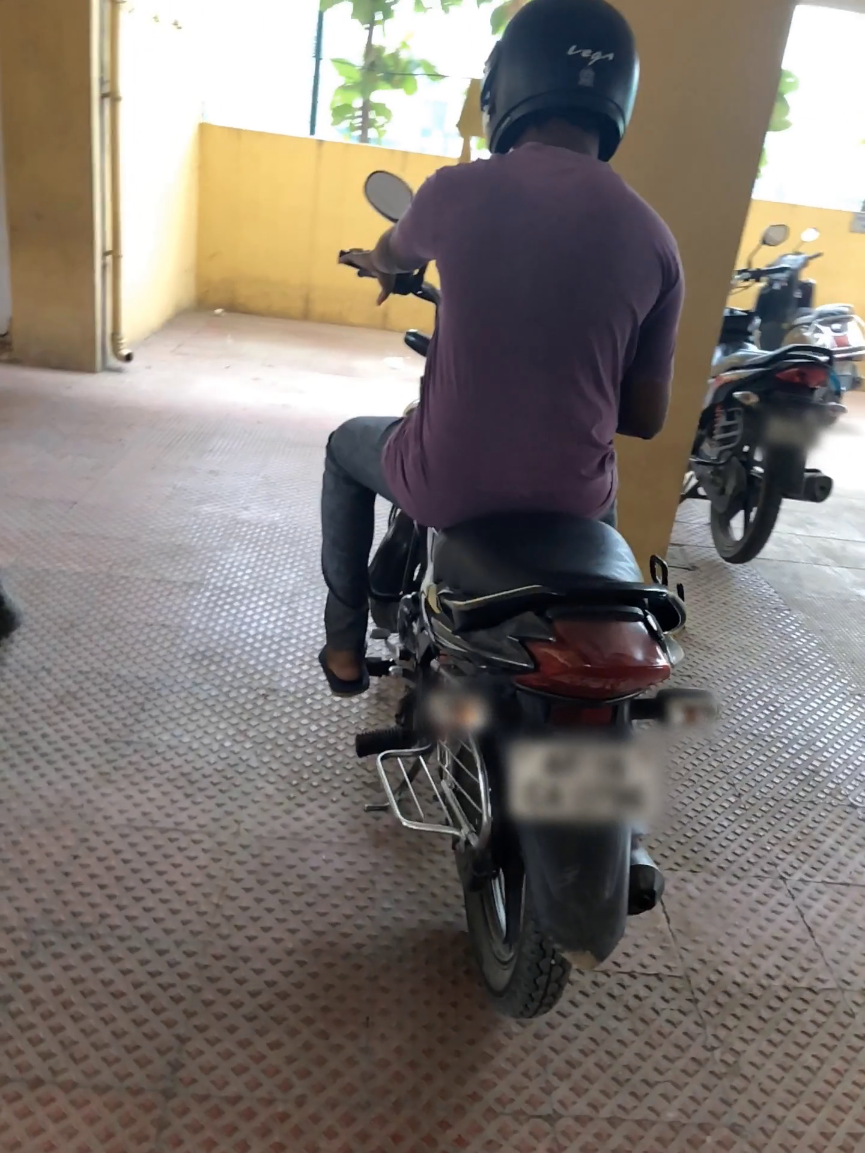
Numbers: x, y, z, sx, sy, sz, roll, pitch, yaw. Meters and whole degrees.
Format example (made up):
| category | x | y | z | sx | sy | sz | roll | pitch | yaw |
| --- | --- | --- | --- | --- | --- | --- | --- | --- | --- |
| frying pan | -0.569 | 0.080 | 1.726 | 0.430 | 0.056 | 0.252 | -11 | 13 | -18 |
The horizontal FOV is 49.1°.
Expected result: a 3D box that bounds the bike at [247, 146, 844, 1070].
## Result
| category | x | y | z | sx | sy | sz | roll | pitch | yaw |
| --- | --- | --- | --- | --- | --- | --- | --- | --- | --- |
| bike | 0.116 | -0.160 | 1.974 | 0.631 | 1.063 | 1.655 | 6 | 29 | -3 |
